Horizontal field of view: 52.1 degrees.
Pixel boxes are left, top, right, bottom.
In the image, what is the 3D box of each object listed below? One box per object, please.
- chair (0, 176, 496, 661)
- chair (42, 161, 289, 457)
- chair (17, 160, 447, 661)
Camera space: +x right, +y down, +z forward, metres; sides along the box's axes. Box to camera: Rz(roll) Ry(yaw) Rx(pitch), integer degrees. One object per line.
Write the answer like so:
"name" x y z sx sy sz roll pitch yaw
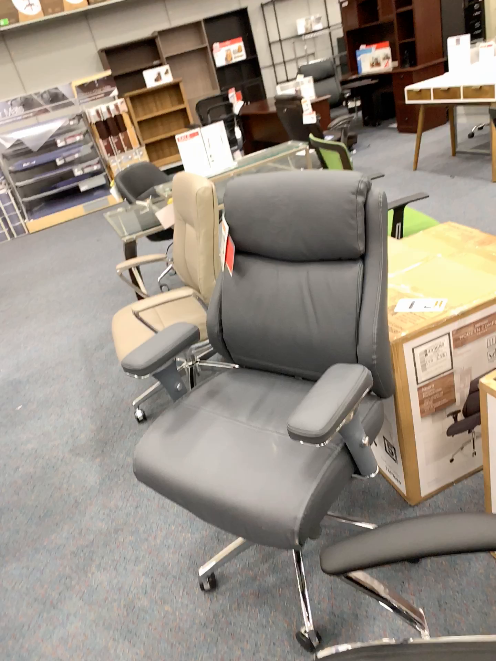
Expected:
"chair" 0.357 0.548 0.578 0.784 1.095 0.768 -11 28 8
"chair" -0.393 -0.155 2.362 0.714 0.976 0.788 -22 28 -12
"chair" 0.086 0.198 1.381 0.696 1.075 0.696 9 36 32
